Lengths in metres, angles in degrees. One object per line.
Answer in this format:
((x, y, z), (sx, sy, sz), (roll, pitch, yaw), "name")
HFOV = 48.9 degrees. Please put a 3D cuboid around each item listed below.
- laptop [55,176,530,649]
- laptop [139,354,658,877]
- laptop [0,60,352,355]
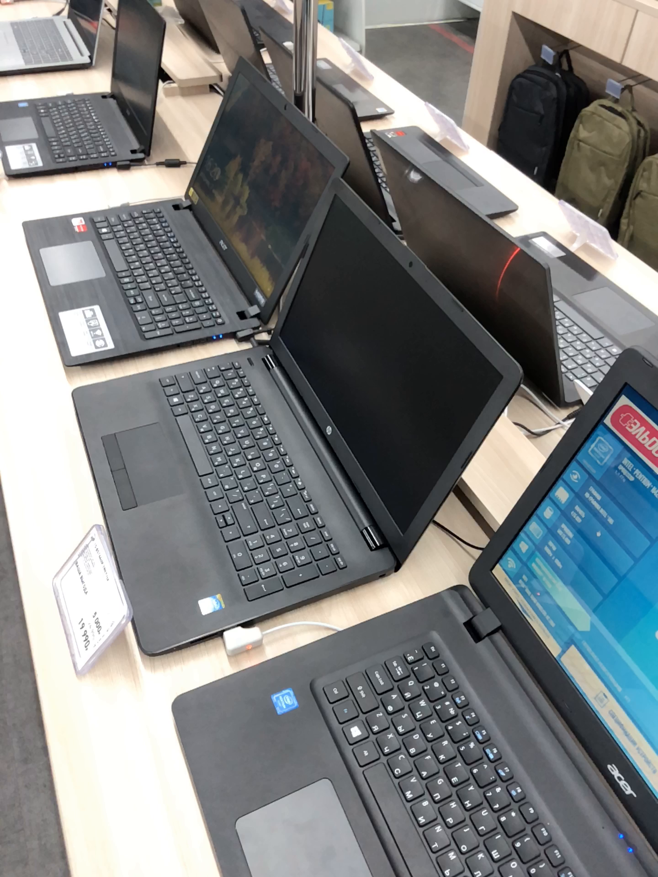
((-0.062, -0.061, 0.745), (0.334, 0.215, 0.378), (-16, 47, -18), "laptop")
((0.147, 0.200, 0.443), (0.395, 0.267, 0.398), (-14, 46, -18), "laptop")
((-0.222, -0.343, 1.020), (0.350, 0.226, 0.360), (-15, 48, -19), "laptop")
